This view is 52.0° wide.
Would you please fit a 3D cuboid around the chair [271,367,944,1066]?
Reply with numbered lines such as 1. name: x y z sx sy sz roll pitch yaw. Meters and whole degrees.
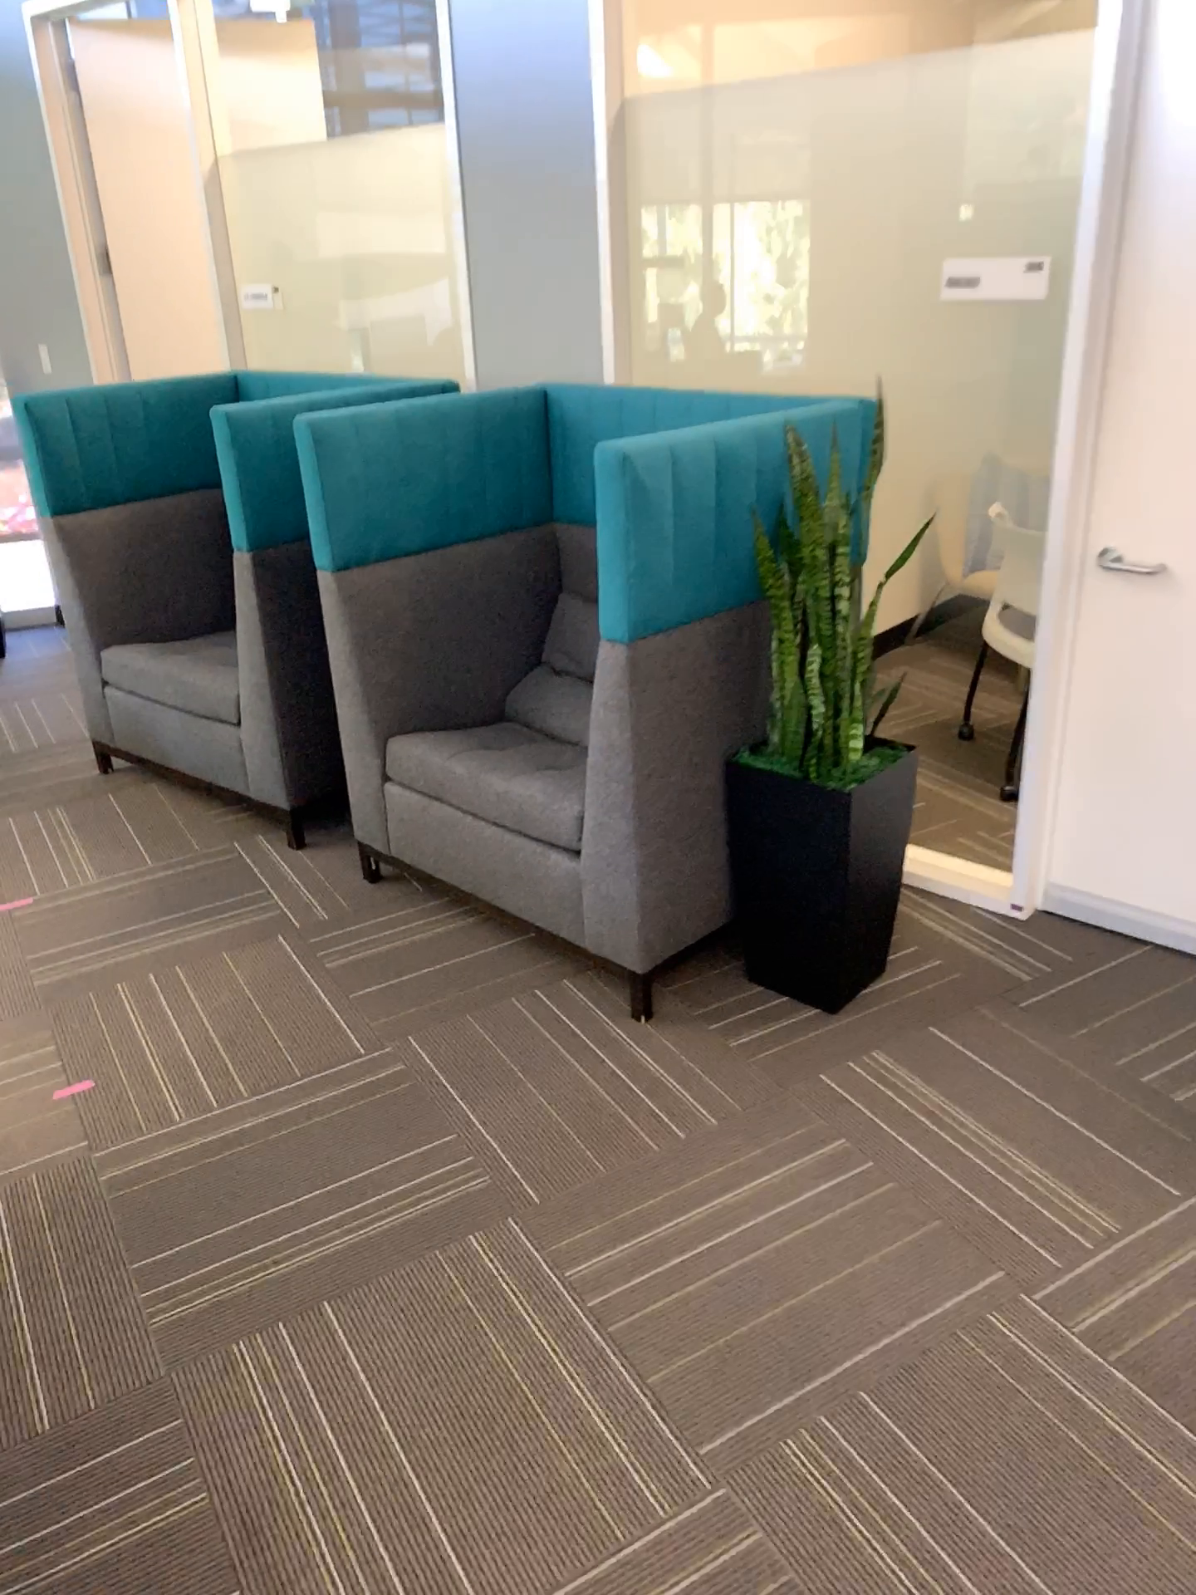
1. chair: 0.041 -0.313 2.896 1.054 1.213 1.012 20 32 41
